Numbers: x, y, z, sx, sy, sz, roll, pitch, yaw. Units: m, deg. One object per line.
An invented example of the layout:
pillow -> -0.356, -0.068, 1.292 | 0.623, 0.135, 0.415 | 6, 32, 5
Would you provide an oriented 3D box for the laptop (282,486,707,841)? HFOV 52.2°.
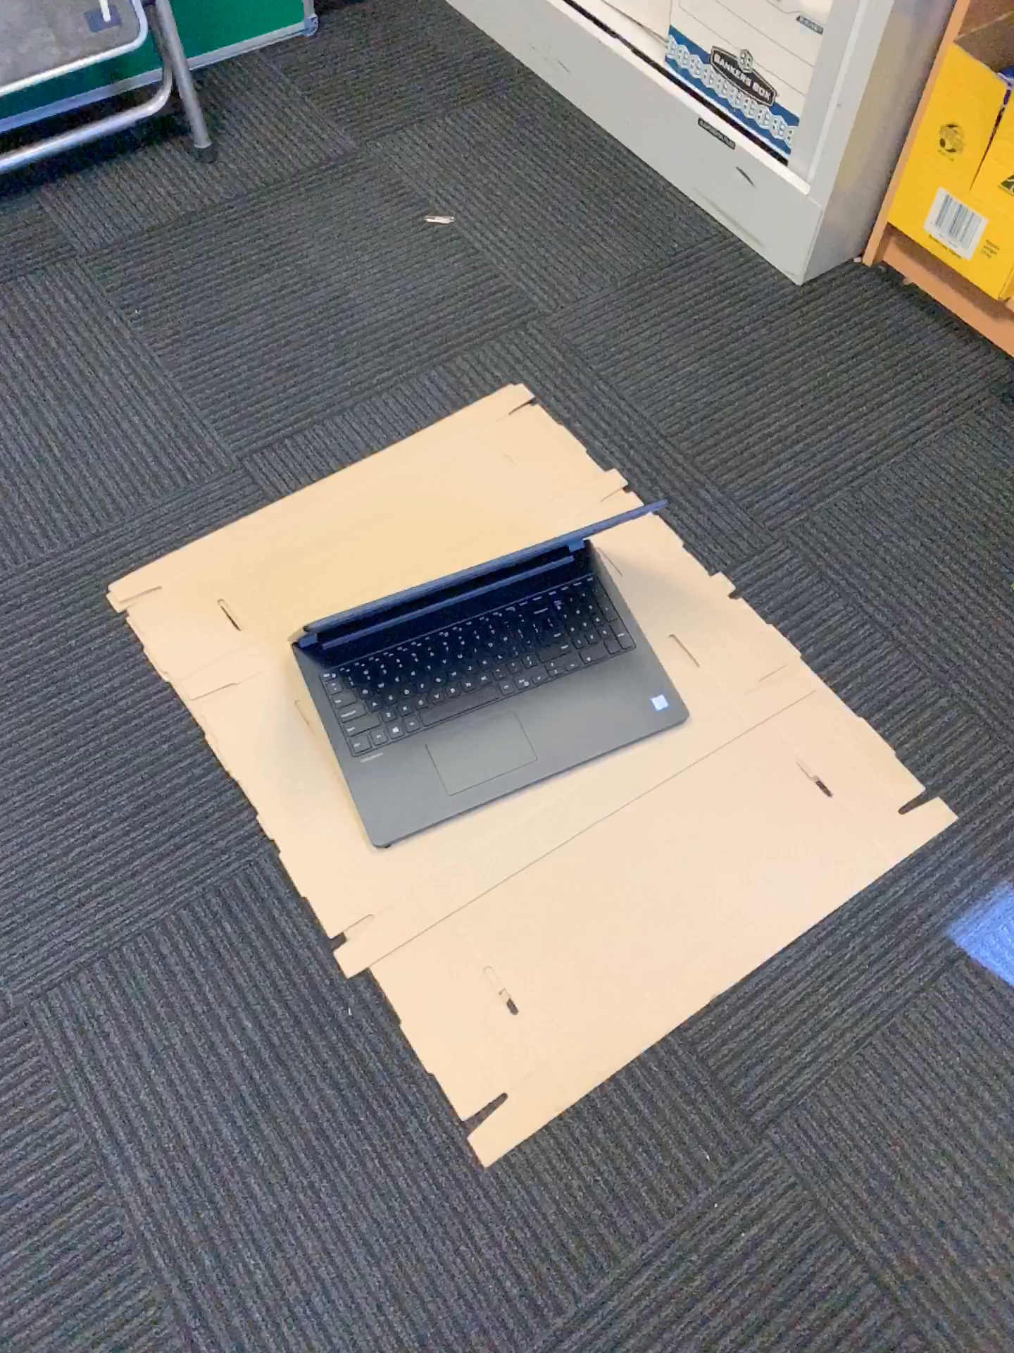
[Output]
laptop -> -0.014, -0.021, 1.004 | 0.341, 0.085, 0.221 | -21, 65, -14
